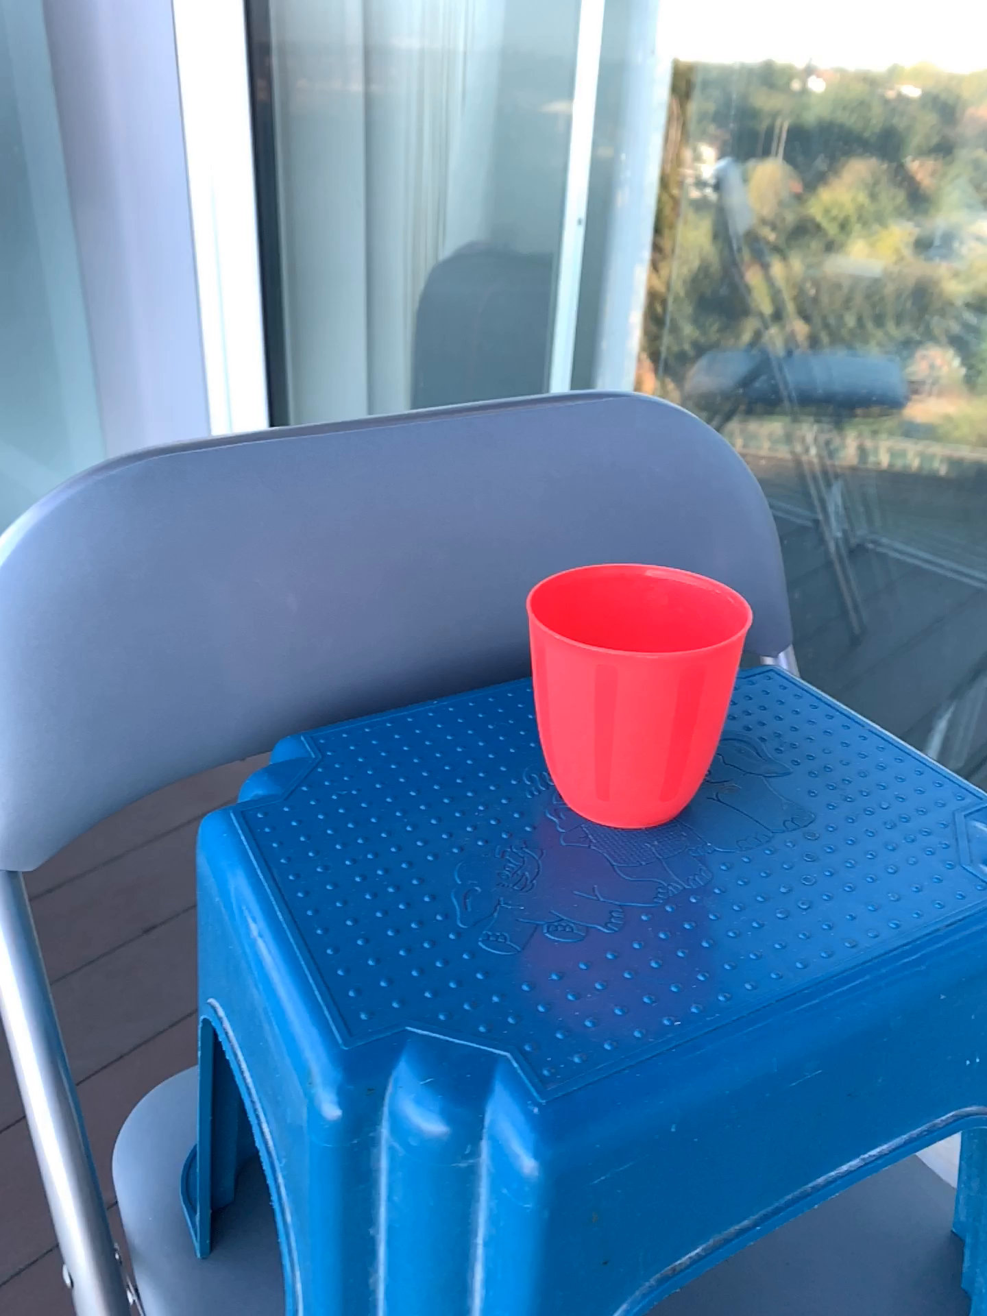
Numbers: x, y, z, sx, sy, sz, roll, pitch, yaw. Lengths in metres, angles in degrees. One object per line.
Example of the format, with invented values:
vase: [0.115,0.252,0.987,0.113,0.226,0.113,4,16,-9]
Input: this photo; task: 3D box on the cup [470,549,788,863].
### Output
cup: [0.048,0.014,0.391,0.086,0.077,0.074,-12,34,-25]
